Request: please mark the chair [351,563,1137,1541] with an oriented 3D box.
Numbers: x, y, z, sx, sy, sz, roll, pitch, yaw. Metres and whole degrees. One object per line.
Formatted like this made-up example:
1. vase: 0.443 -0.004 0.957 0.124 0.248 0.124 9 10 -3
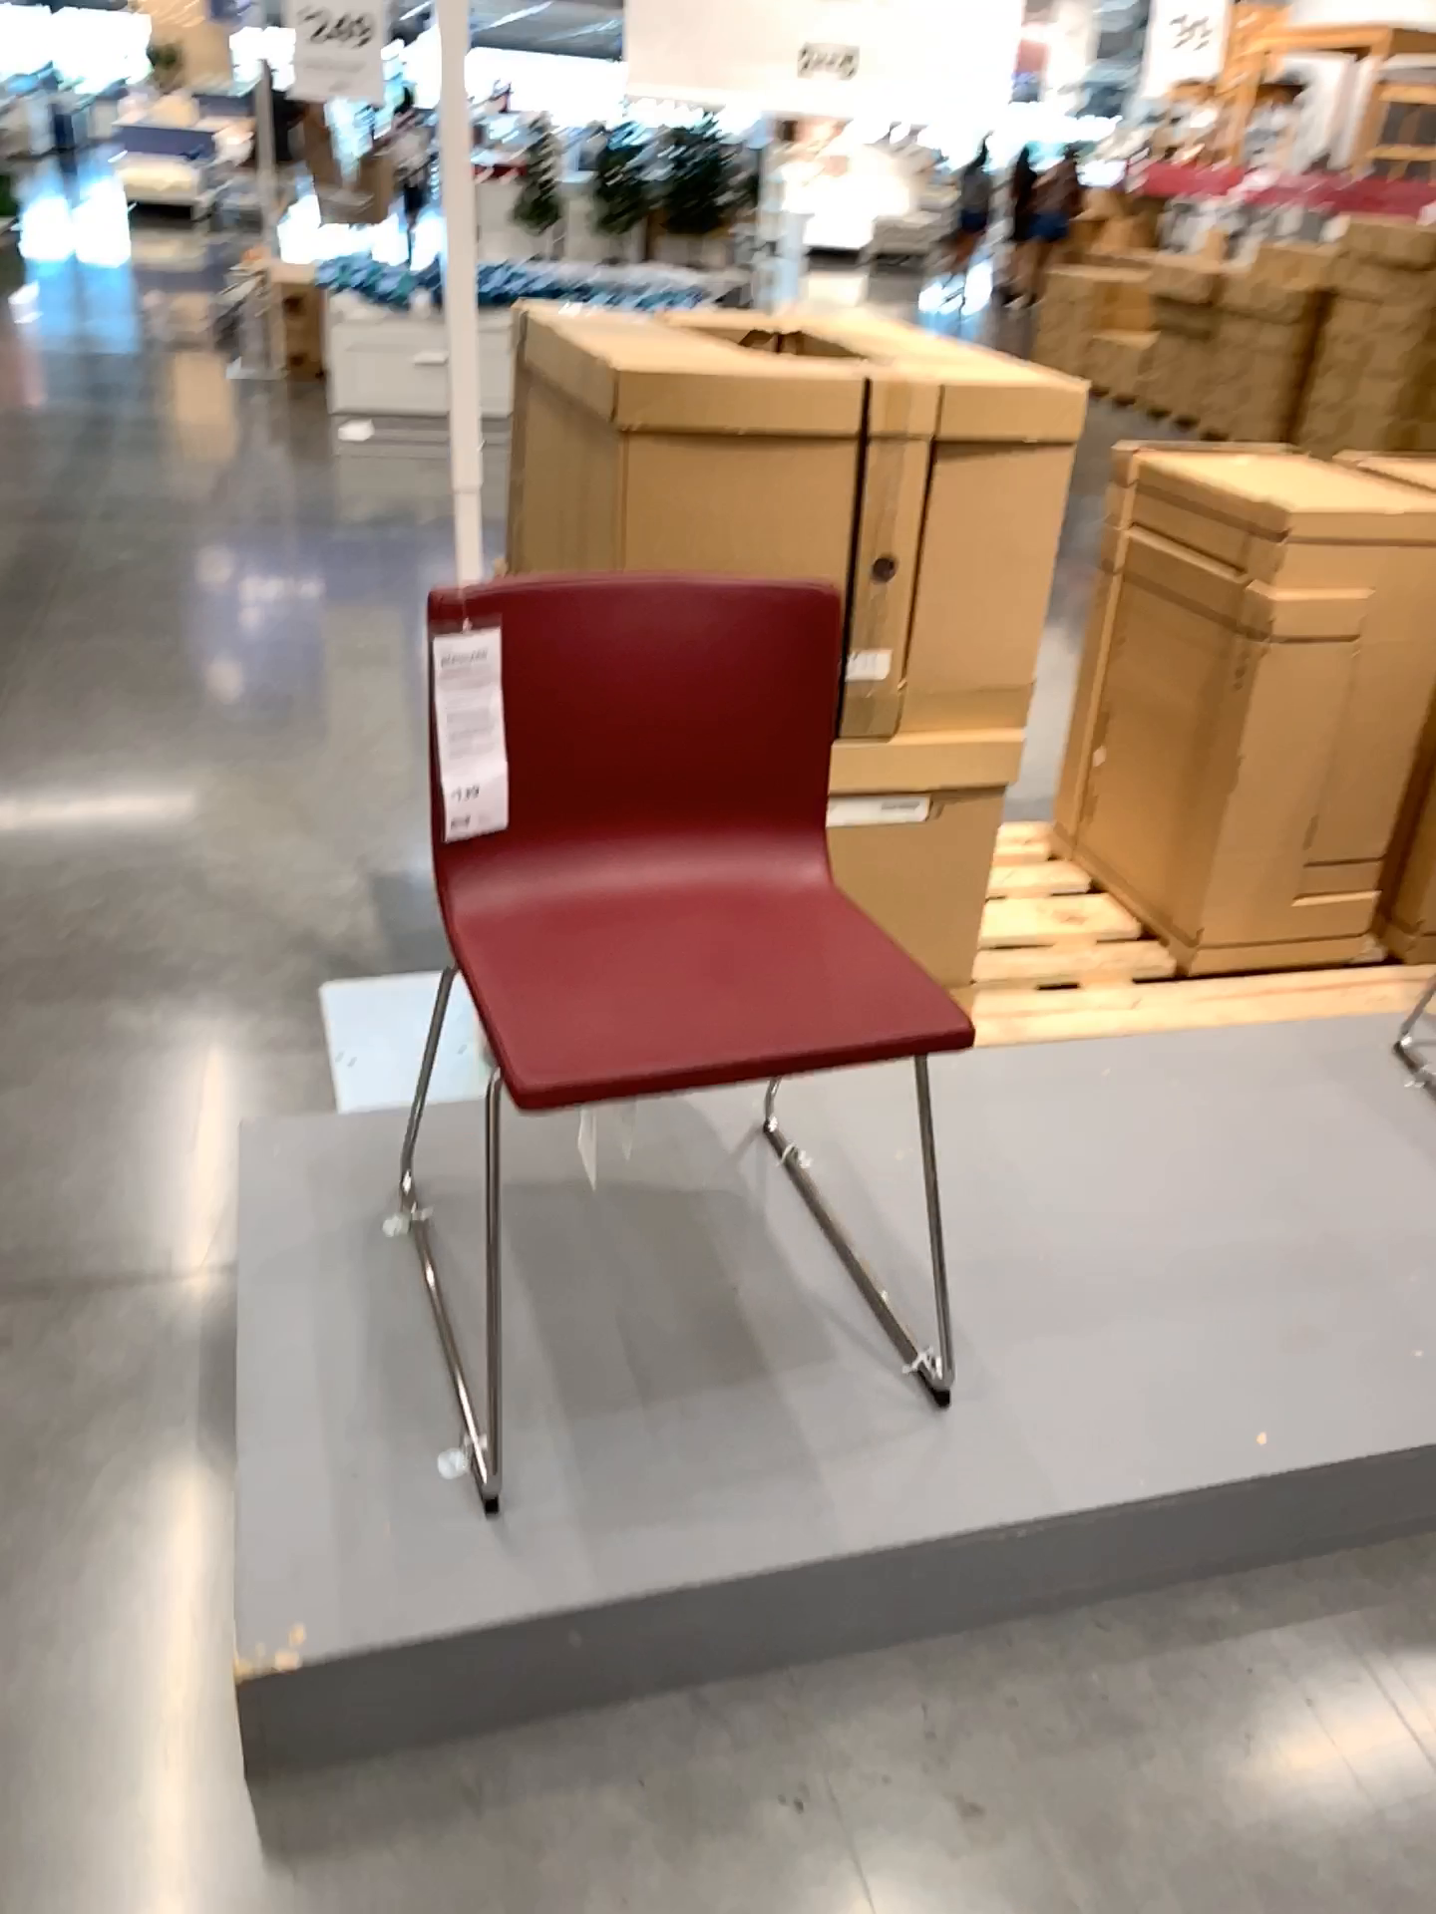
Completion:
1. chair: -0.041 0.048 1.455 0.530 0.726 0.553 -6 31 -19
